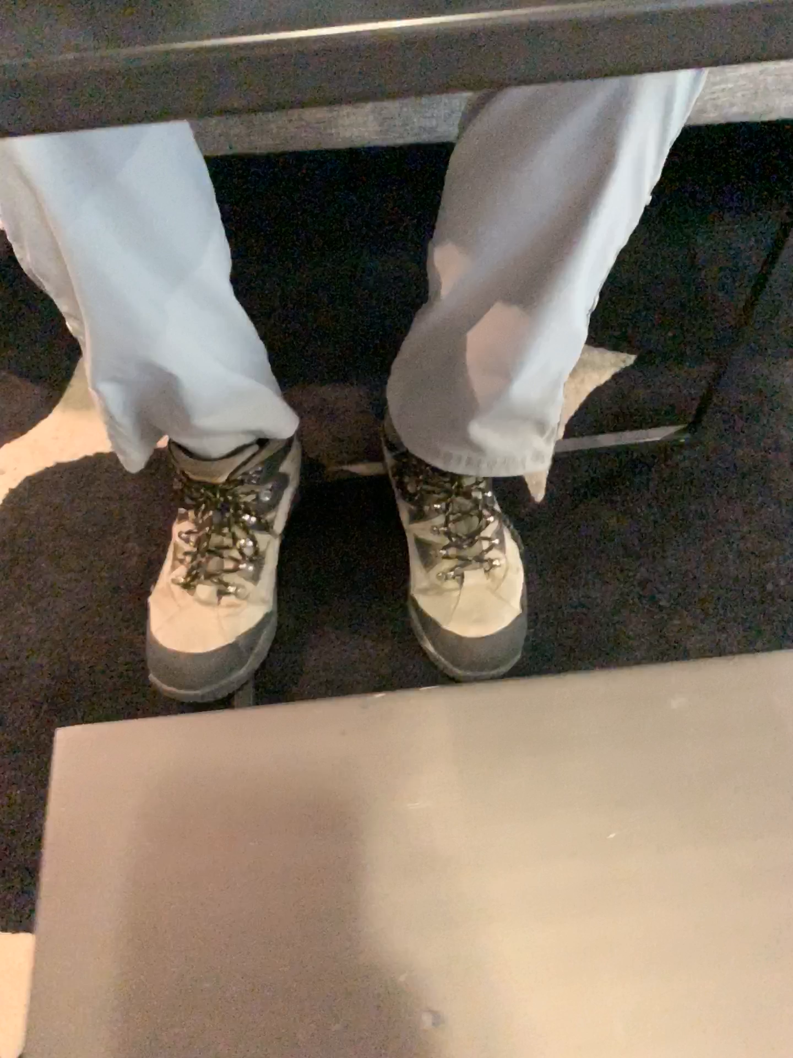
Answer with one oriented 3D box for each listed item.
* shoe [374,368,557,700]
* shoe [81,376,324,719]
[{"bbox_3d":[0.055,-0.003,0.778,0.121,0.080,0.304,-6,61,-2],"label":"shoe"},{"bbox_3d":[-0.163,0.011,0.744,0.123,0.090,0.285,9,65,7],"label":"shoe"}]
